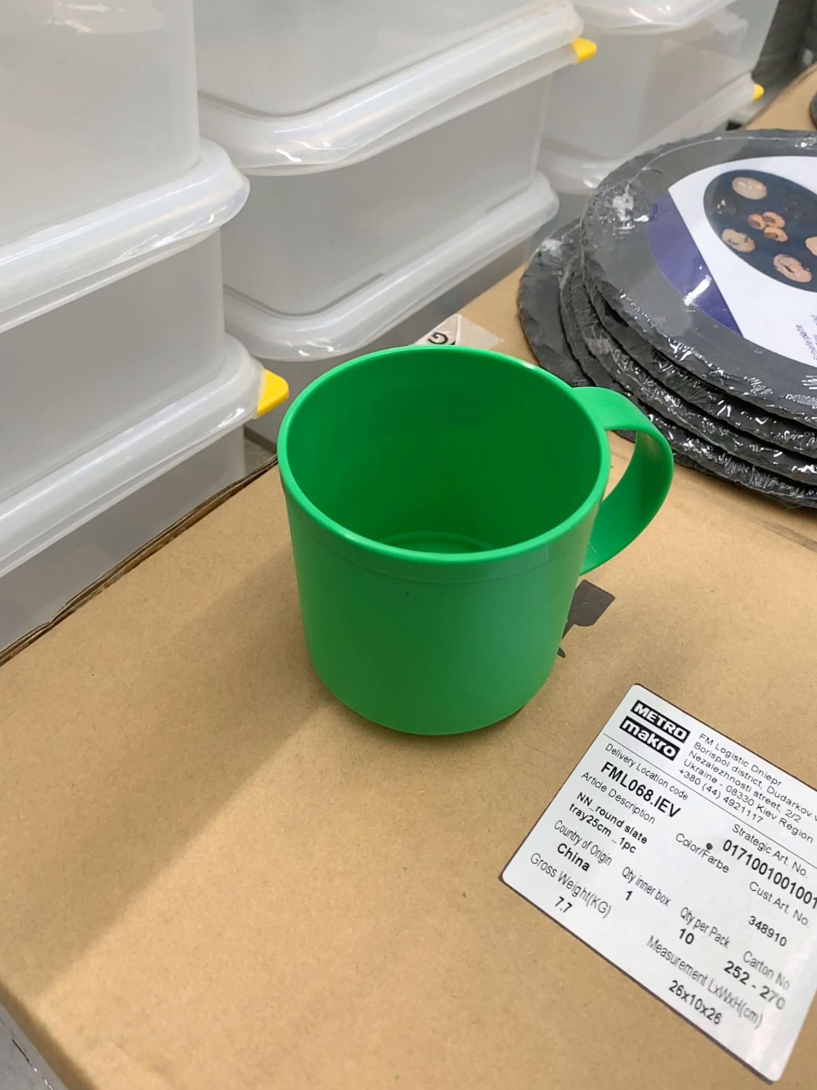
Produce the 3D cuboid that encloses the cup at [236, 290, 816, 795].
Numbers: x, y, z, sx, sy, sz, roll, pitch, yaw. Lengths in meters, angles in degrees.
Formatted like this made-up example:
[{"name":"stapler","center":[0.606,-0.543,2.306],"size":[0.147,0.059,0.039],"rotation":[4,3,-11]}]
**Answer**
[{"name":"cup","center":[0.022,-0.004,0.213],"size":[0.105,0.069,0.076],"rotation":[-16,49,-15]}]
